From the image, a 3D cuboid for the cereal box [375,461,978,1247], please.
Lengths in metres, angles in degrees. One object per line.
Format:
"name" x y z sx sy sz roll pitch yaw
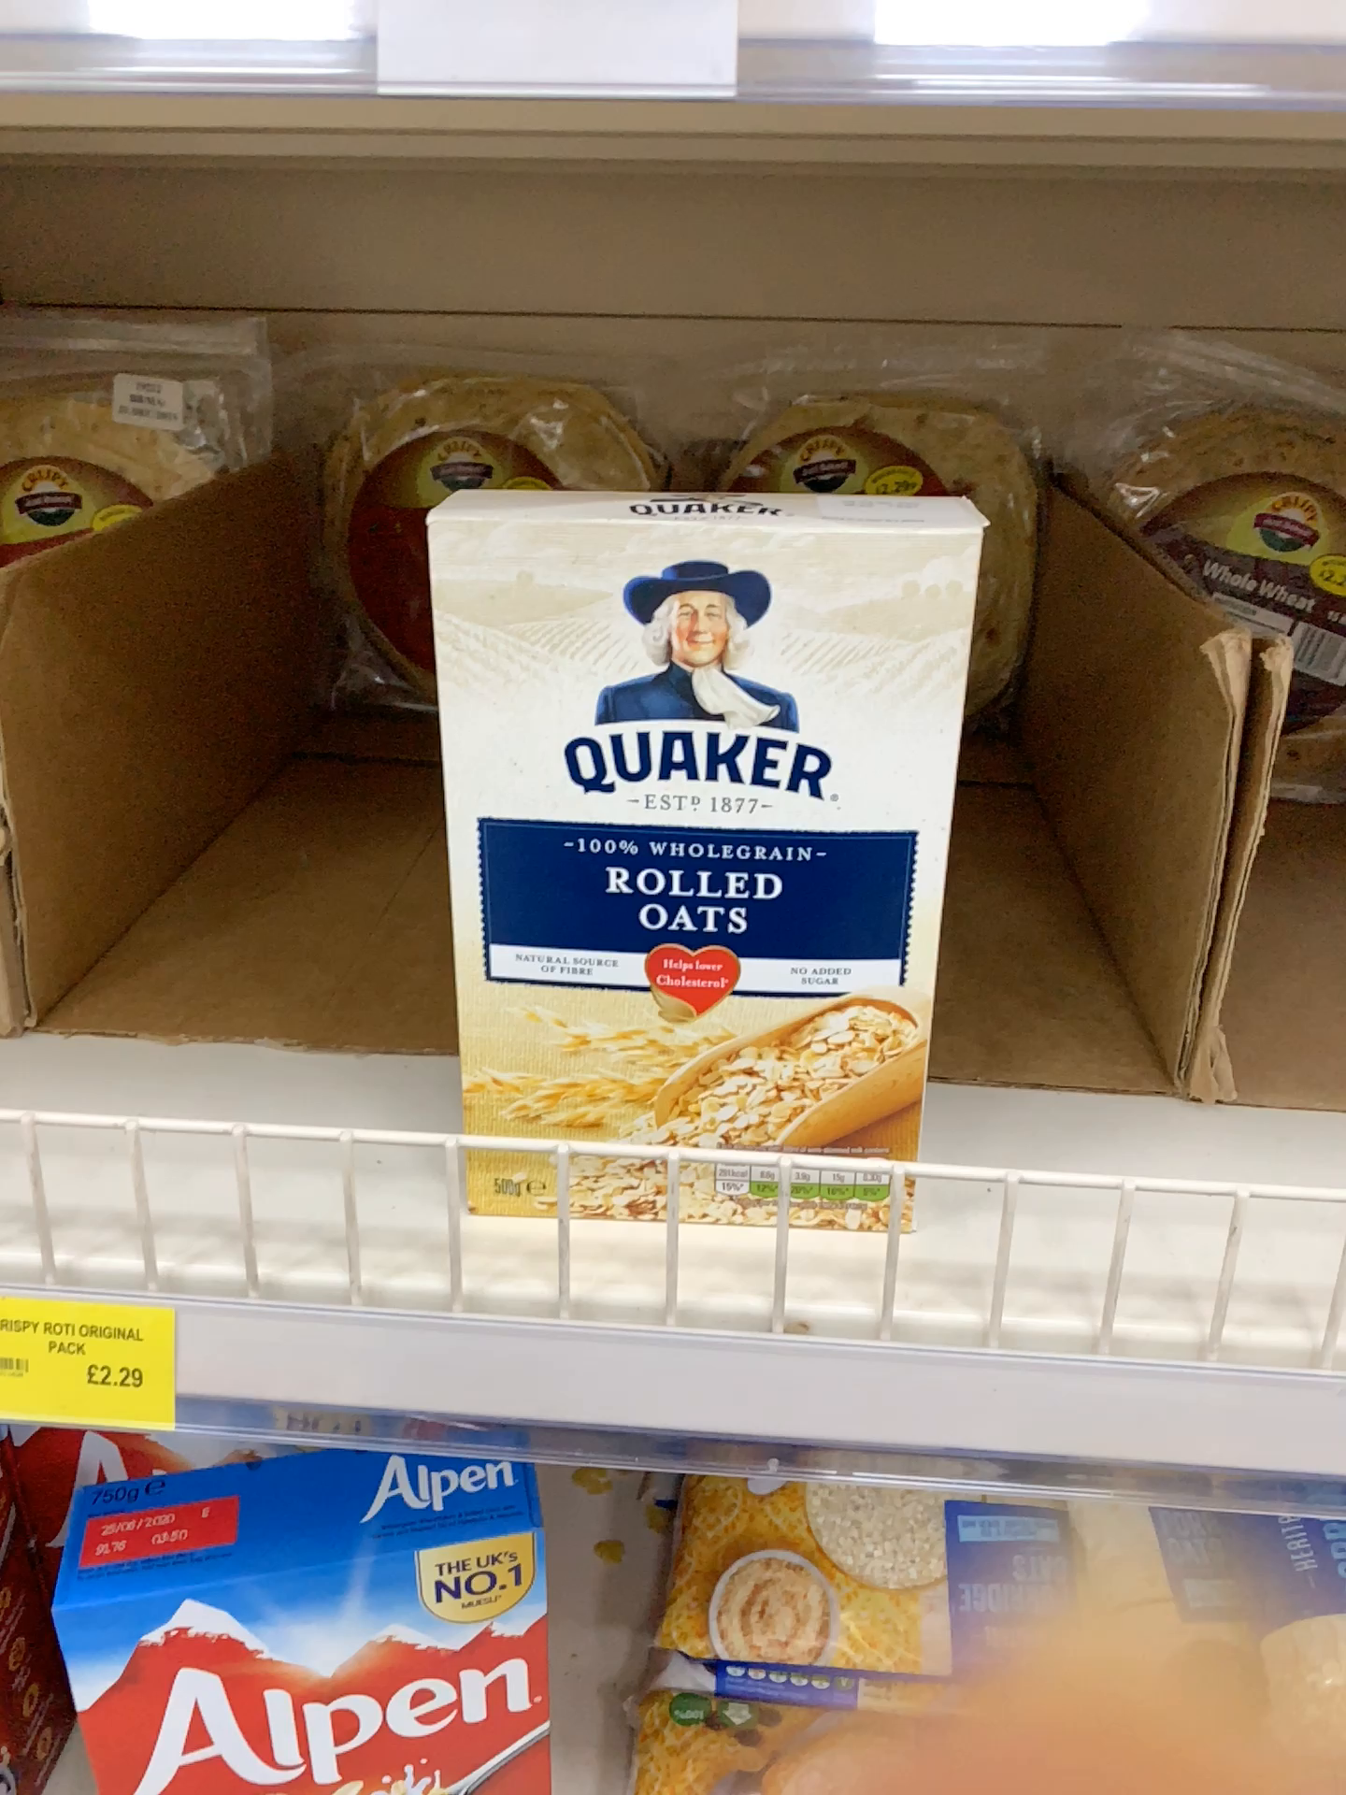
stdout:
"cereal box" 0.001 -0.007 0.413 0.150 0.228 0.050 1 24 2
